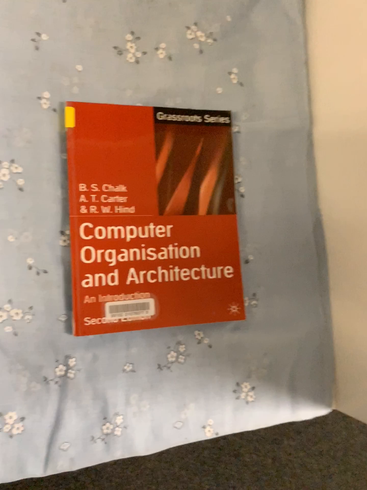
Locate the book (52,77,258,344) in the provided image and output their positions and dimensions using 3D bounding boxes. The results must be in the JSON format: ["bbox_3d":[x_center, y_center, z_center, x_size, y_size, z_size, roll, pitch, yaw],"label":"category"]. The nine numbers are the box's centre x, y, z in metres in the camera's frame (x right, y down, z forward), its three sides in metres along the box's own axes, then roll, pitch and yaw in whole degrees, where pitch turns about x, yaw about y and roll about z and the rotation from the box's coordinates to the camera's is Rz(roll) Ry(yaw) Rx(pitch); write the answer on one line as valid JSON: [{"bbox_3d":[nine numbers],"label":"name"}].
[{"bbox_3d":[-0.030,-0.041,0.420,0.210,0.030,0.270,-2,84,-16],"label":"book"}]
